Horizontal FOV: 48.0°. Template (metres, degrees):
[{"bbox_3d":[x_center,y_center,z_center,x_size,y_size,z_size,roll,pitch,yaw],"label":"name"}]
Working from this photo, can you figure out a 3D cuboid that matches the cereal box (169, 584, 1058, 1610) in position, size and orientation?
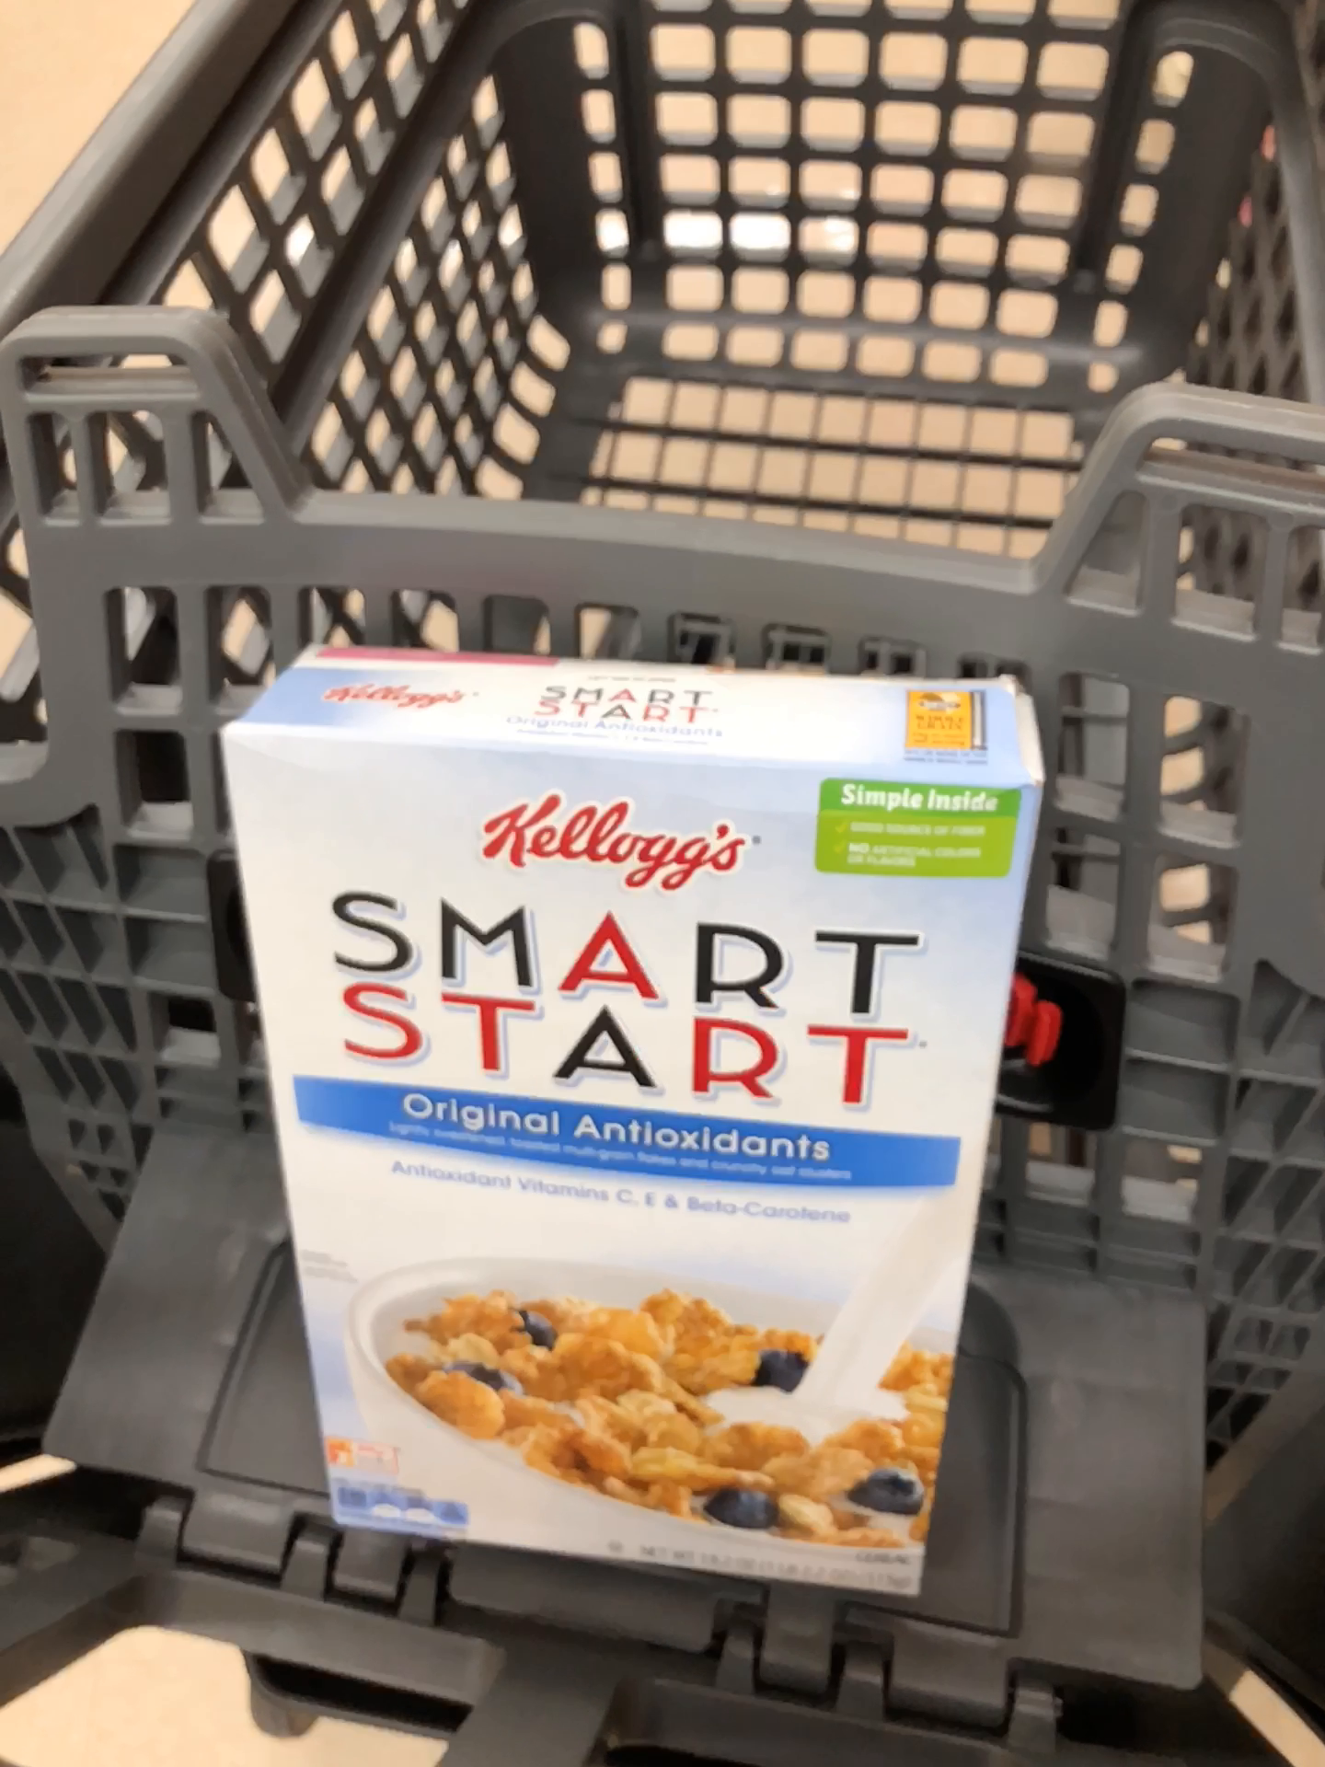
[{"bbox_3d":[-0.011,0.074,0.436,0.200,0.300,0.070,5,30,7],"label":"cereal box"}]
